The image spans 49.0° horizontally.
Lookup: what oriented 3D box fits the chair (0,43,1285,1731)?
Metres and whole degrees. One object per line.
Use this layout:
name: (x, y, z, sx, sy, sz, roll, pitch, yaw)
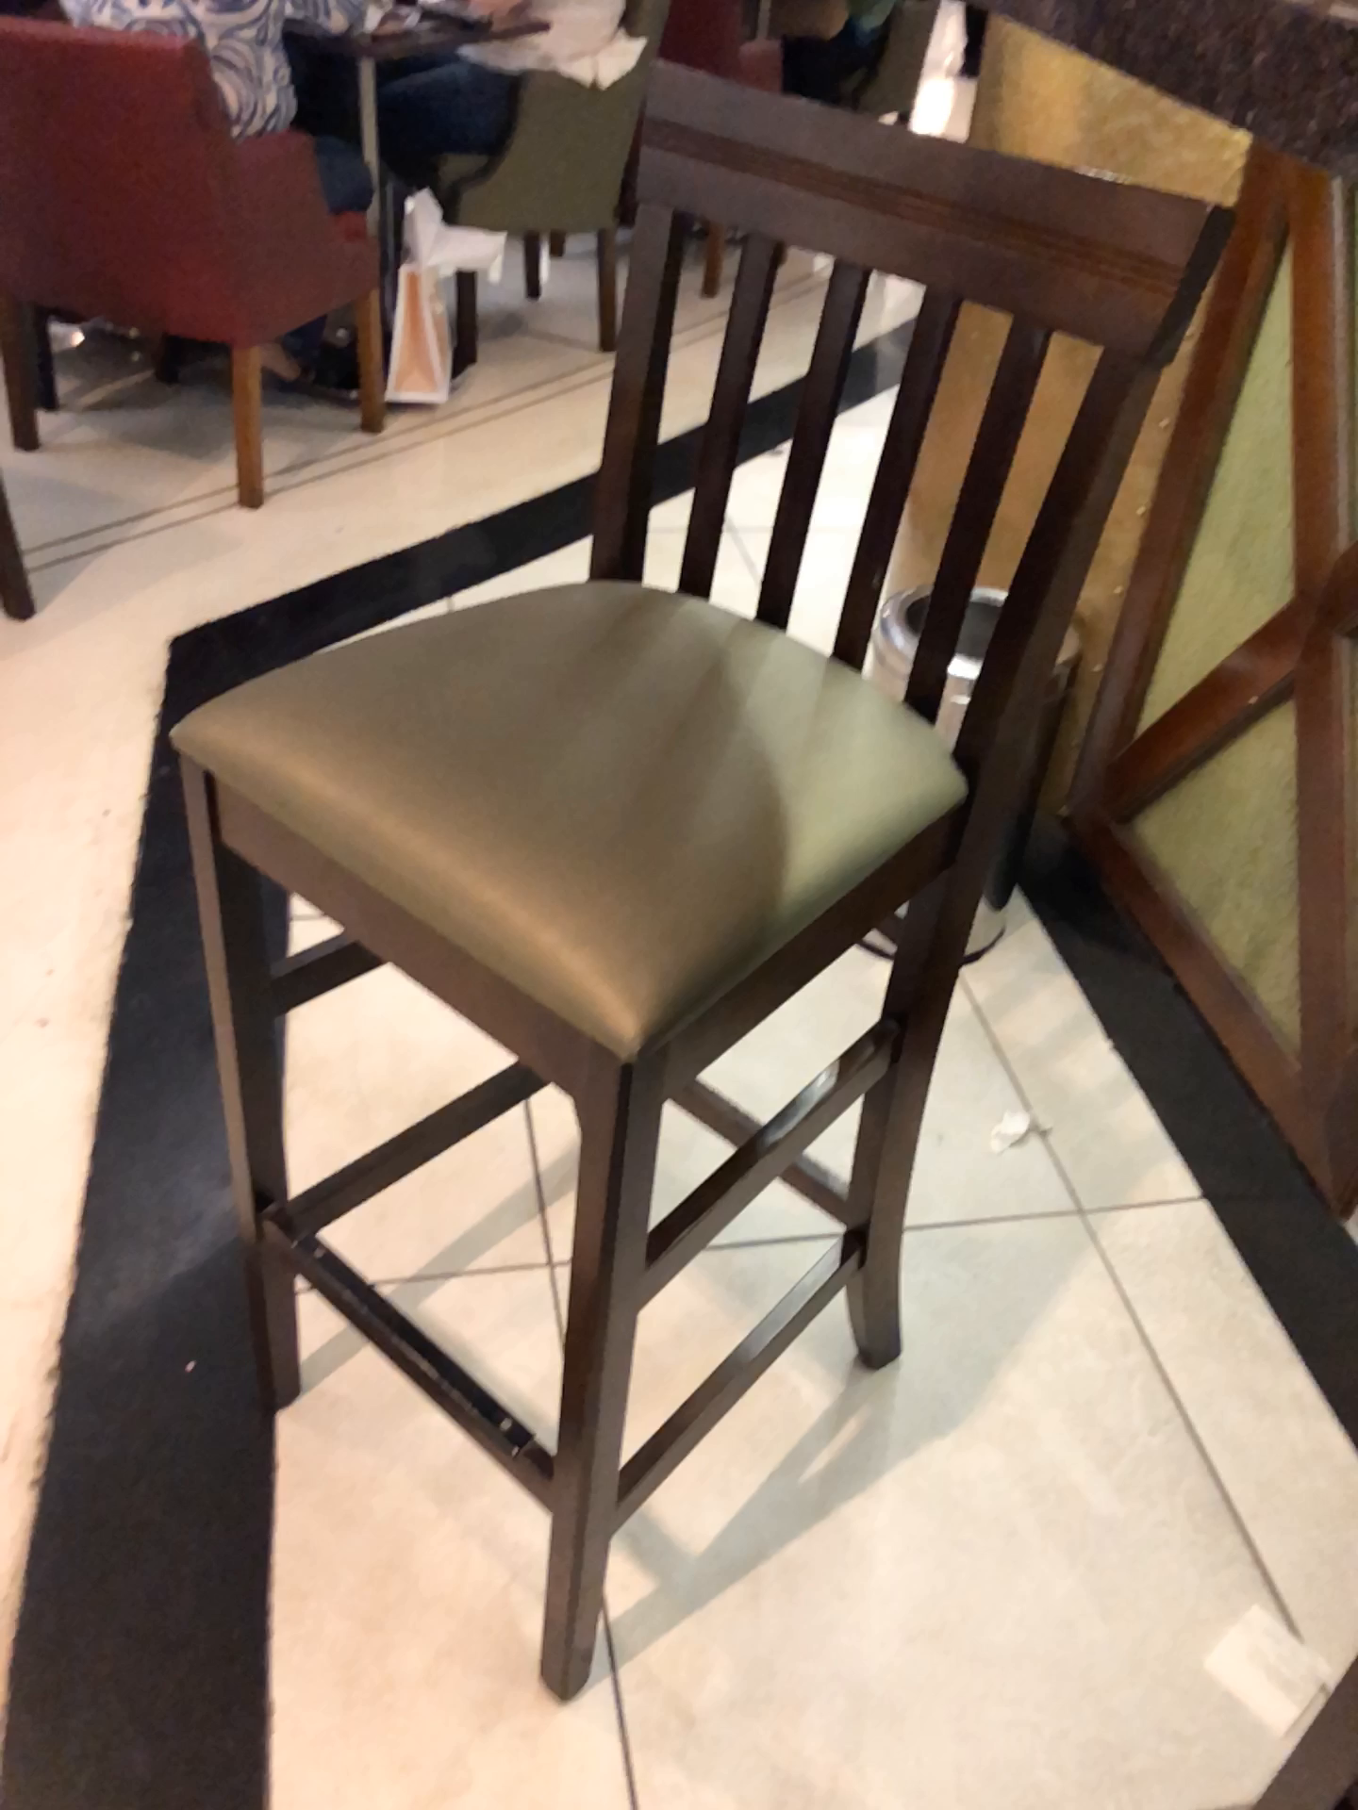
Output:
chair: (-0.044, 0.013, 1.087, 0.461, 1.032, 0.492, 31, 44, 29)
